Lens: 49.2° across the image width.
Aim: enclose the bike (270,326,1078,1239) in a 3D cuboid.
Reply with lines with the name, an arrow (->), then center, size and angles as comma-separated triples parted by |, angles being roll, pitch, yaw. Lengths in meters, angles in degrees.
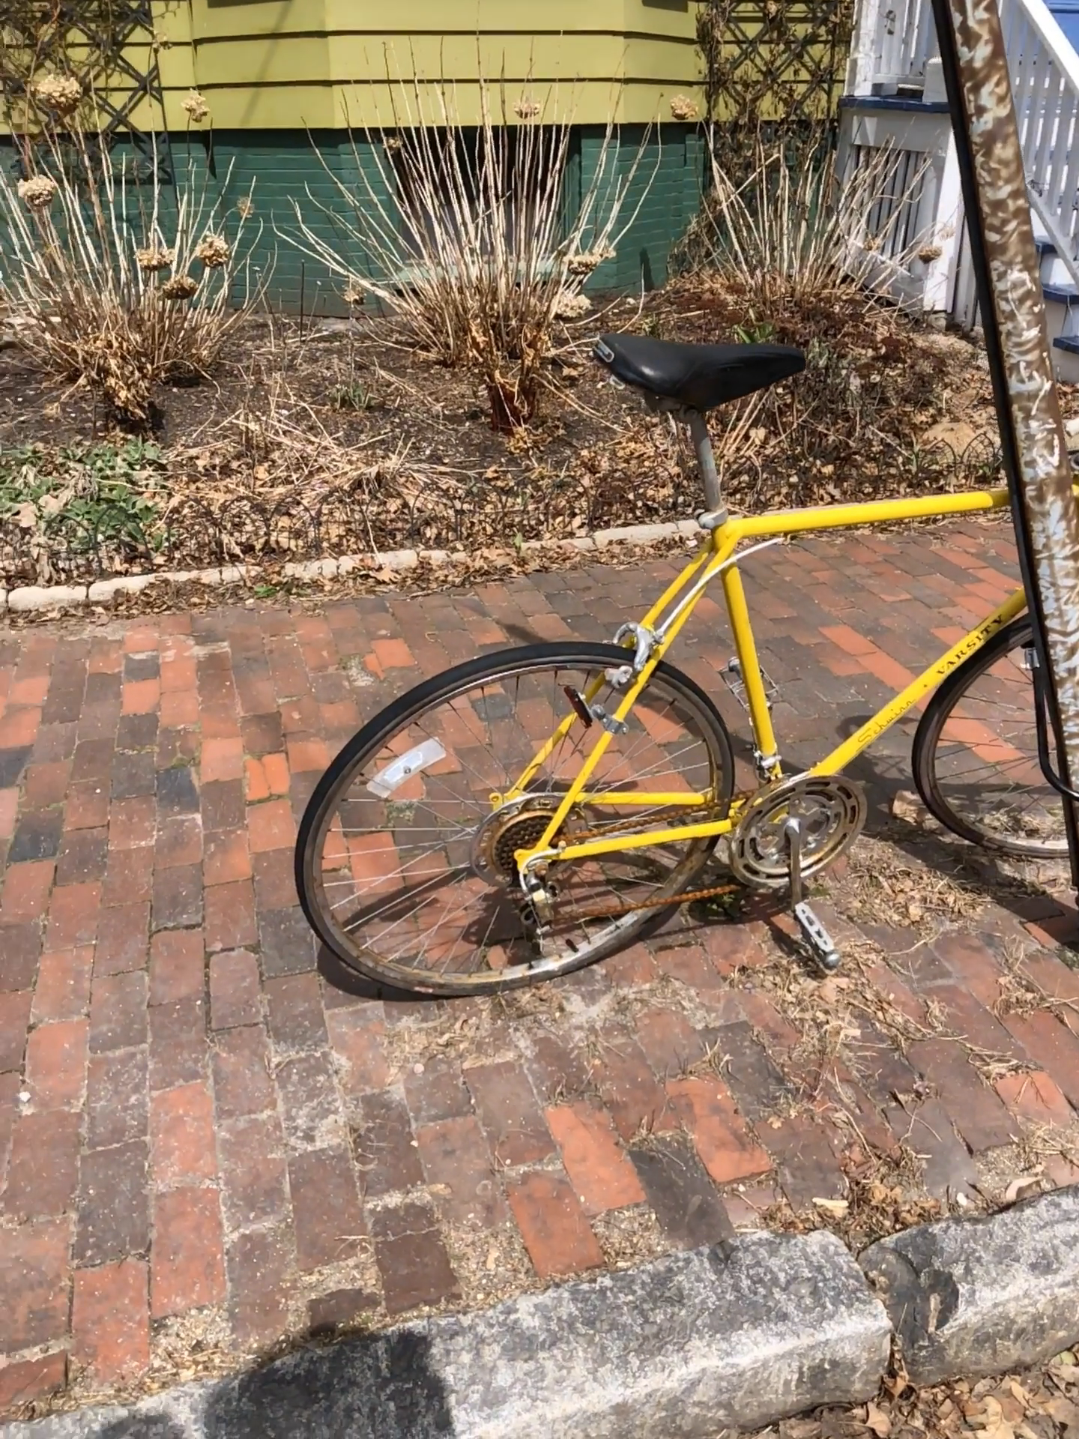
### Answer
bike -> 0.523, 0.025, 1.718 | 1.702, 0.855, 0.526 | -10, 27, -9
